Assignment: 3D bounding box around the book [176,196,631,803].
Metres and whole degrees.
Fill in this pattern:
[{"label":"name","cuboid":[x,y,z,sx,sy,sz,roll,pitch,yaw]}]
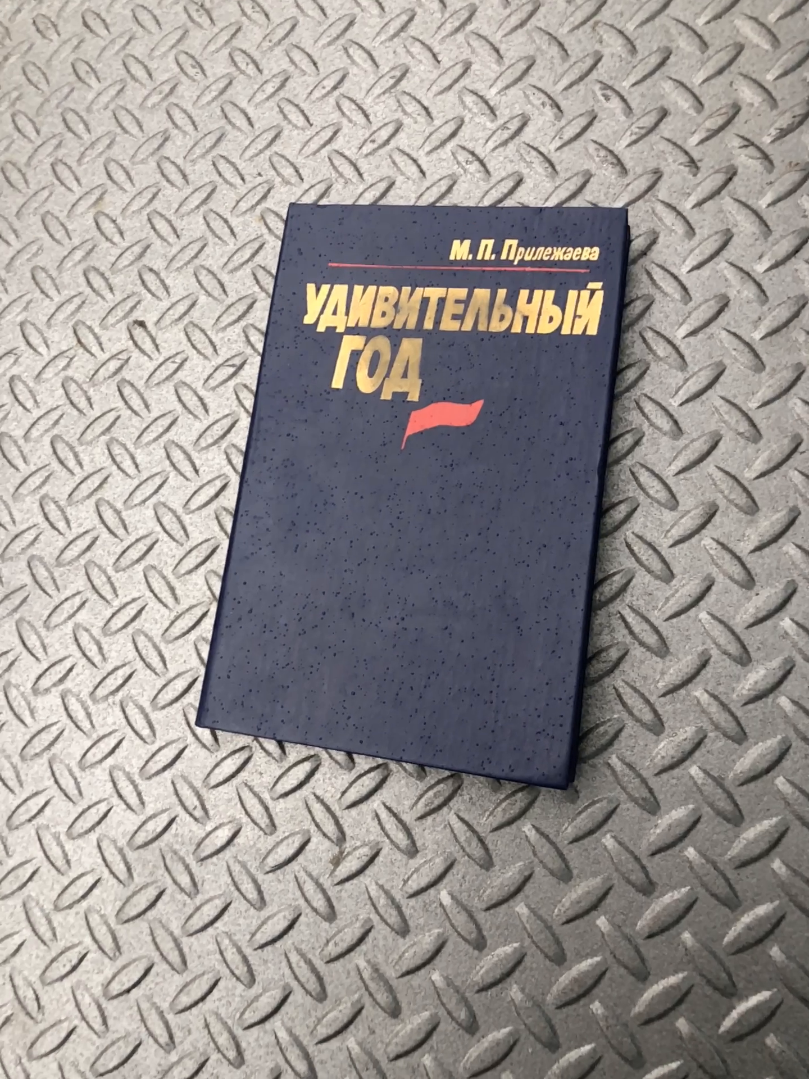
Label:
[{"label":"book","cuboid":[0.004,-0.021,0.322,0.130,0.040,0.200,6,80,14]}]
